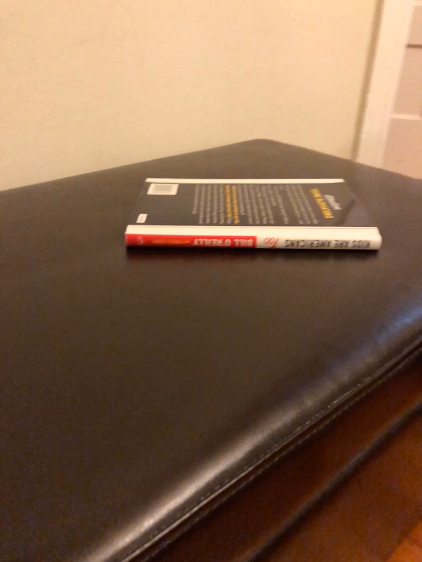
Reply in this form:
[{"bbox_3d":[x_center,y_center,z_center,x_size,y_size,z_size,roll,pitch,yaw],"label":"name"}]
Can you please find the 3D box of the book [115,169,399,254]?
[{"bbox_3d":[0.037,-0.073,0.452,0.230,0.020,0.161,0,31,-1],"label":"book"}]
